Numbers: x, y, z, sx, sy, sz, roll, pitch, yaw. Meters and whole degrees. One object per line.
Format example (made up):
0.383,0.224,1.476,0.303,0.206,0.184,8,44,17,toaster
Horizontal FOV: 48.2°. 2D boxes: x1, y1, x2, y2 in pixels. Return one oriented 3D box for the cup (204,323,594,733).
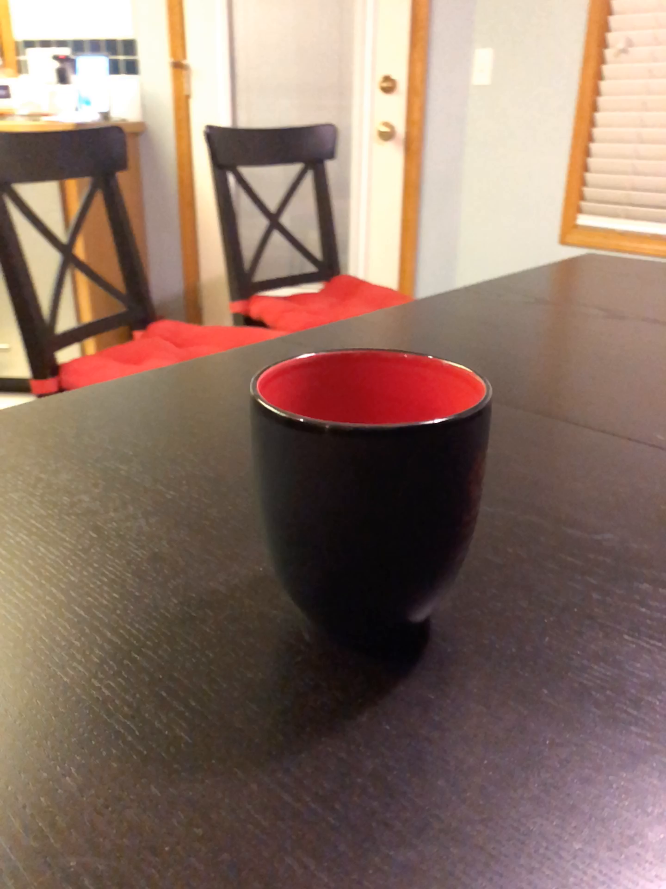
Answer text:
0.032,0.021,0.331,0.100,0.109,0.140,18,29,35,cup
